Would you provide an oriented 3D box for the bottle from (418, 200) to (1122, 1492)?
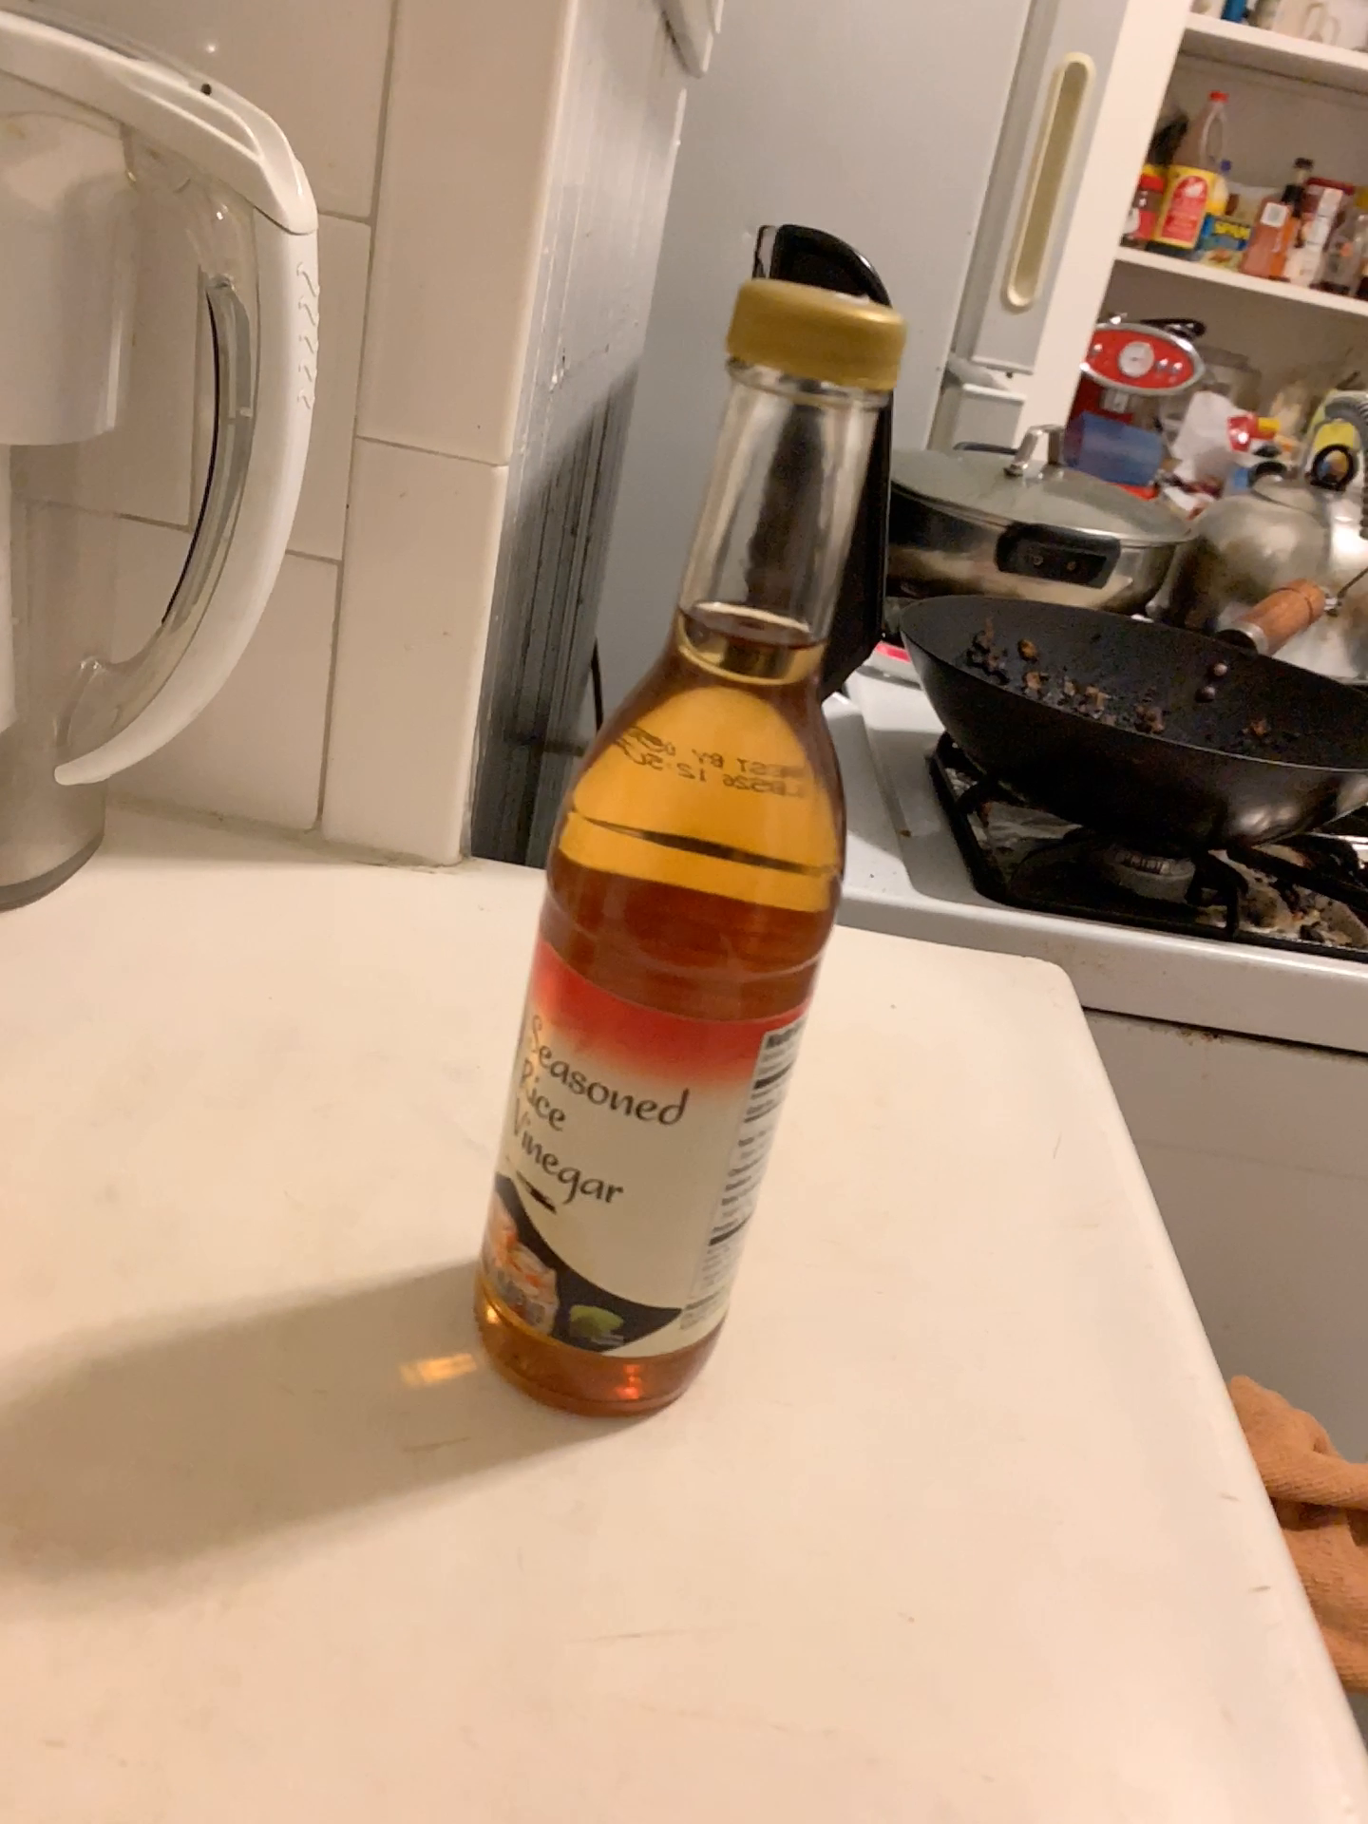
[{"bbox_3d":[0.008,-0.005,0.289,0.070,0.239,0.070,10,27,-5],"label":"bottle"}]
